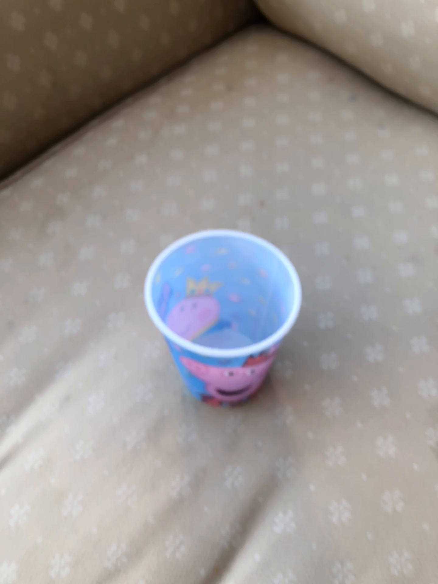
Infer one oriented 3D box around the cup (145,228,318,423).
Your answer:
[{"bbox_3d":[0.004,0.026,0.330,0.091,0.101,0.087,0,60,0],"label":"cup"}]
